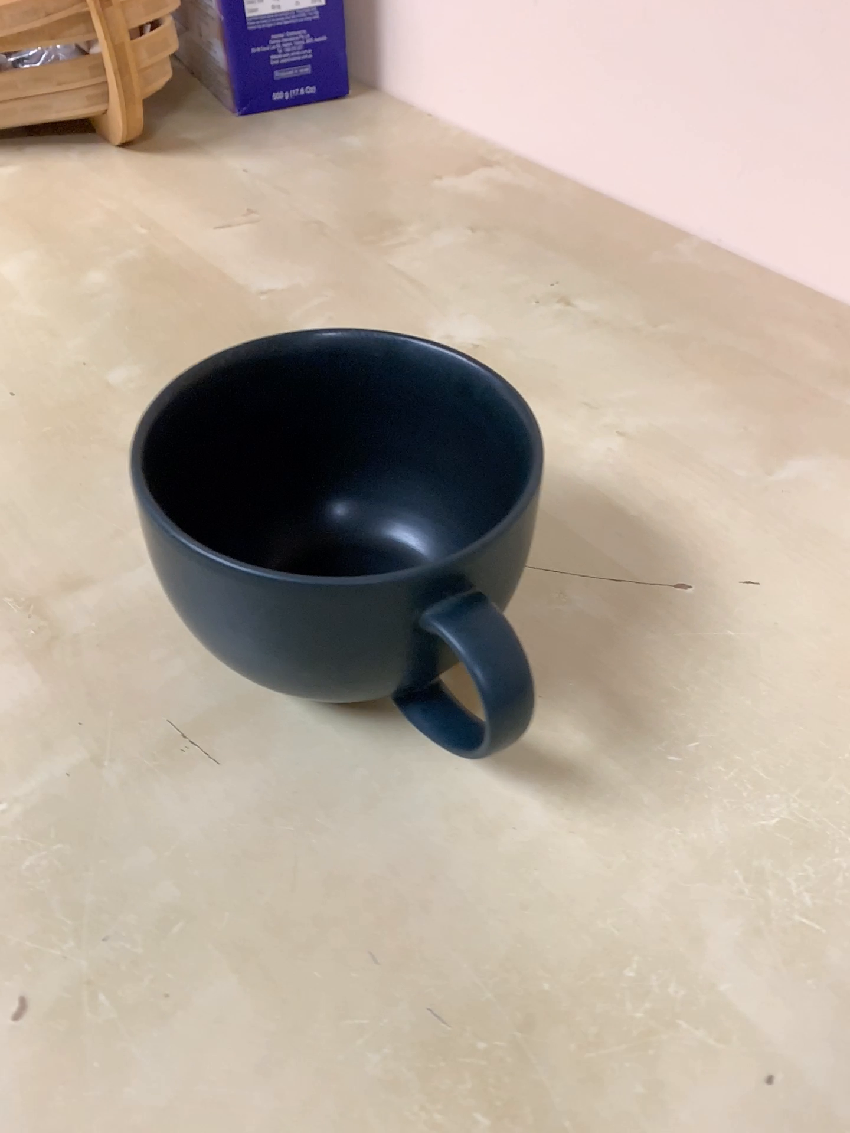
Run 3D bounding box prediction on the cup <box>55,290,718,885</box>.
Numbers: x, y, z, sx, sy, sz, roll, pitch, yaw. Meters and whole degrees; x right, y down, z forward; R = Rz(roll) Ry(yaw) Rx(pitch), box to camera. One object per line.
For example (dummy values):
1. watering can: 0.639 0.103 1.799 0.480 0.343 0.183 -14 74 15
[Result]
1. cup: -0.017 -0.010 0.291 0.136 0.068 0.159 -29 53 -27
